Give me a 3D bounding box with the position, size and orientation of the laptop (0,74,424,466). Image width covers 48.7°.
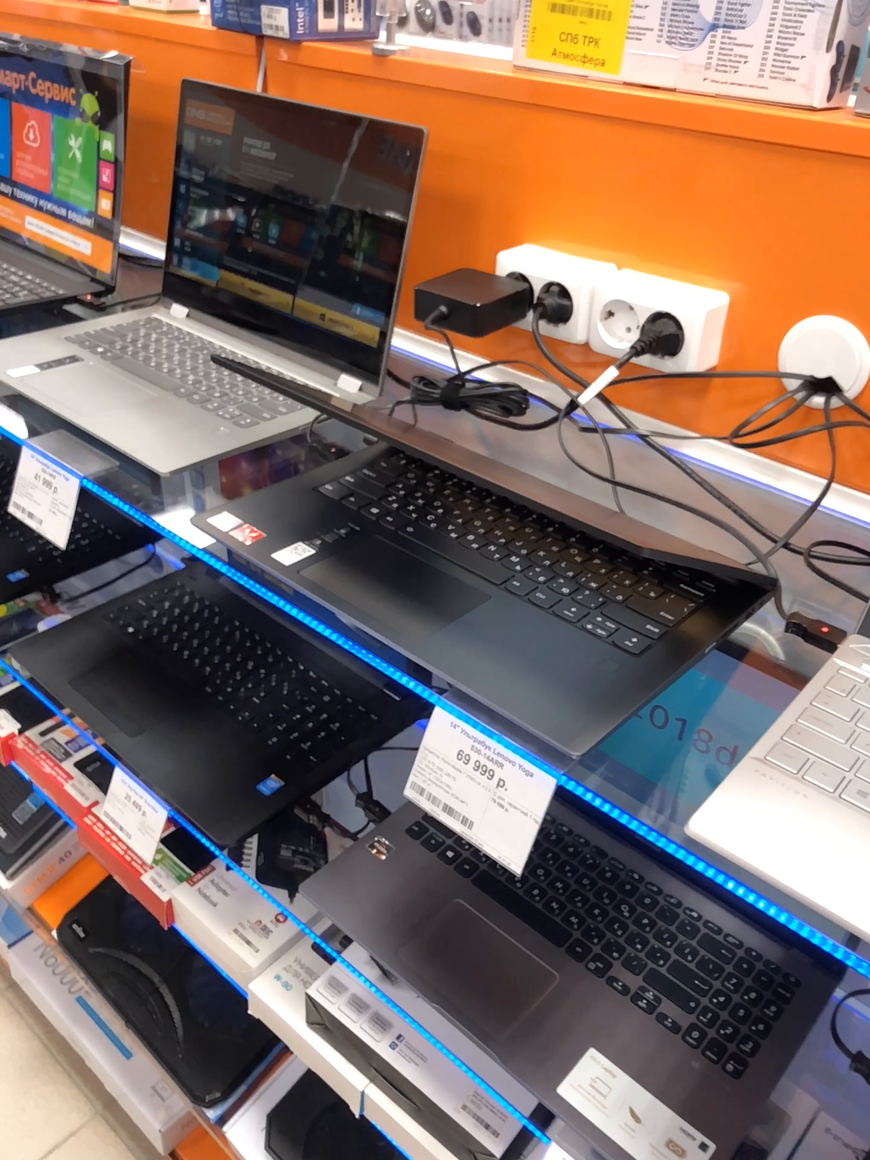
[{"bbox_3d":[-0.228,-0.293,0.845,0.311,0.219,0.268,29,41,32],"label":"laptop"}]

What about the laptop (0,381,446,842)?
[{"bbox_3d":[-0.219,0.001,0.950,0.374,0.223,0.266,28,41,32],"label":"laptop"}]

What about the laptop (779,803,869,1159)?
[{"bbox_3d":[0.420,0.341,0.468,0.254,0.229,0.345,-26,42,-38],"label":"laptop"}]

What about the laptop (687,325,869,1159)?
[{"bbox_3d":[0.334,0.037,0.422,0.283,0.162,0.318,28,42,36],"label":"laptop"}]

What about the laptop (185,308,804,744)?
[{"bbox_3d":[0.027,-0.065,0.626,0.325,0.102,0.214,29,41,34],"label":"laptop"}]

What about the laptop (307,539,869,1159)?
[{"bbox_3d":[0.121,0.179,0.714,0.354,0.236,0.256,28,40,35],"label":"laptop"}]
